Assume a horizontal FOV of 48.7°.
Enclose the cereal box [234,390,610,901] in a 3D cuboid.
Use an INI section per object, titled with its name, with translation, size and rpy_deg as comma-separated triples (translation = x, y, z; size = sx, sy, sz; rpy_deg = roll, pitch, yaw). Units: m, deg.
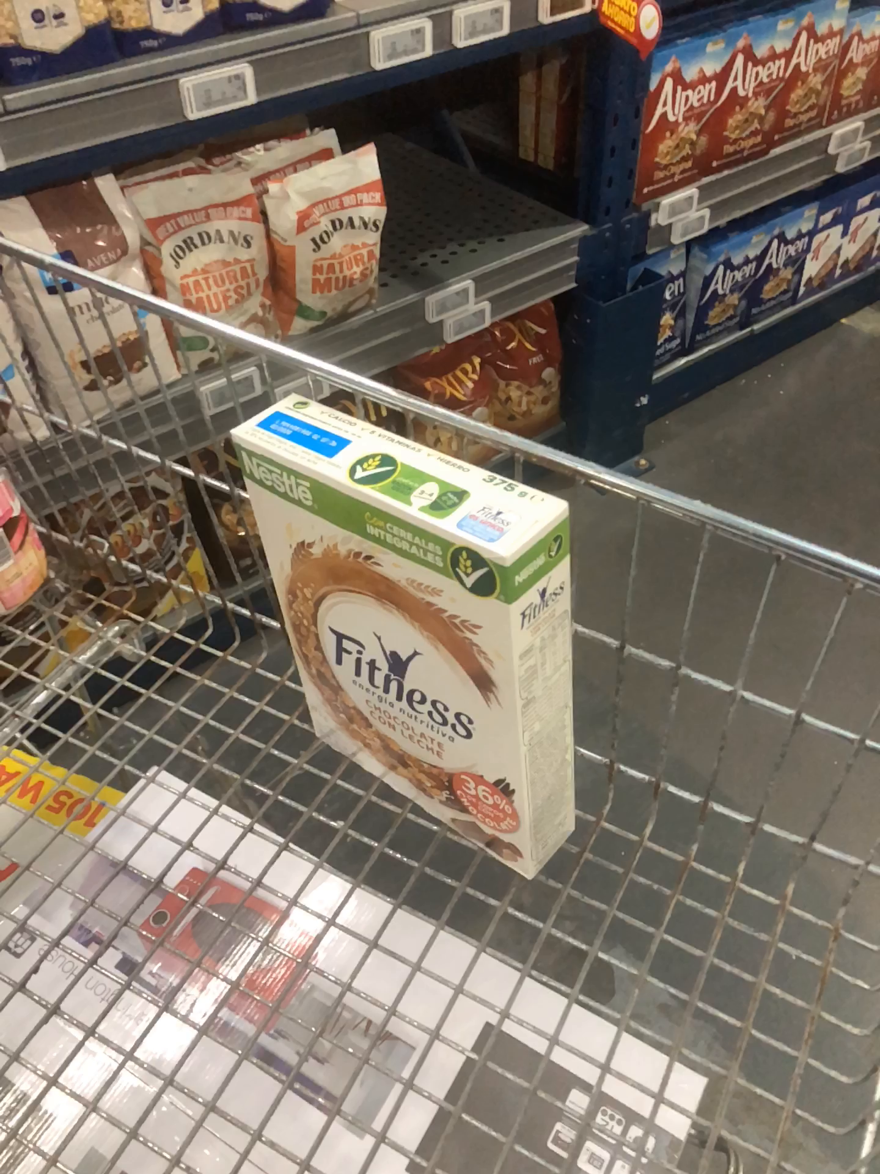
[cereal box]
translation = -0.004, 0.038, 0.573
size = 0.200, 0.259, 0.060
rpy_deg = 26, 51, 33
